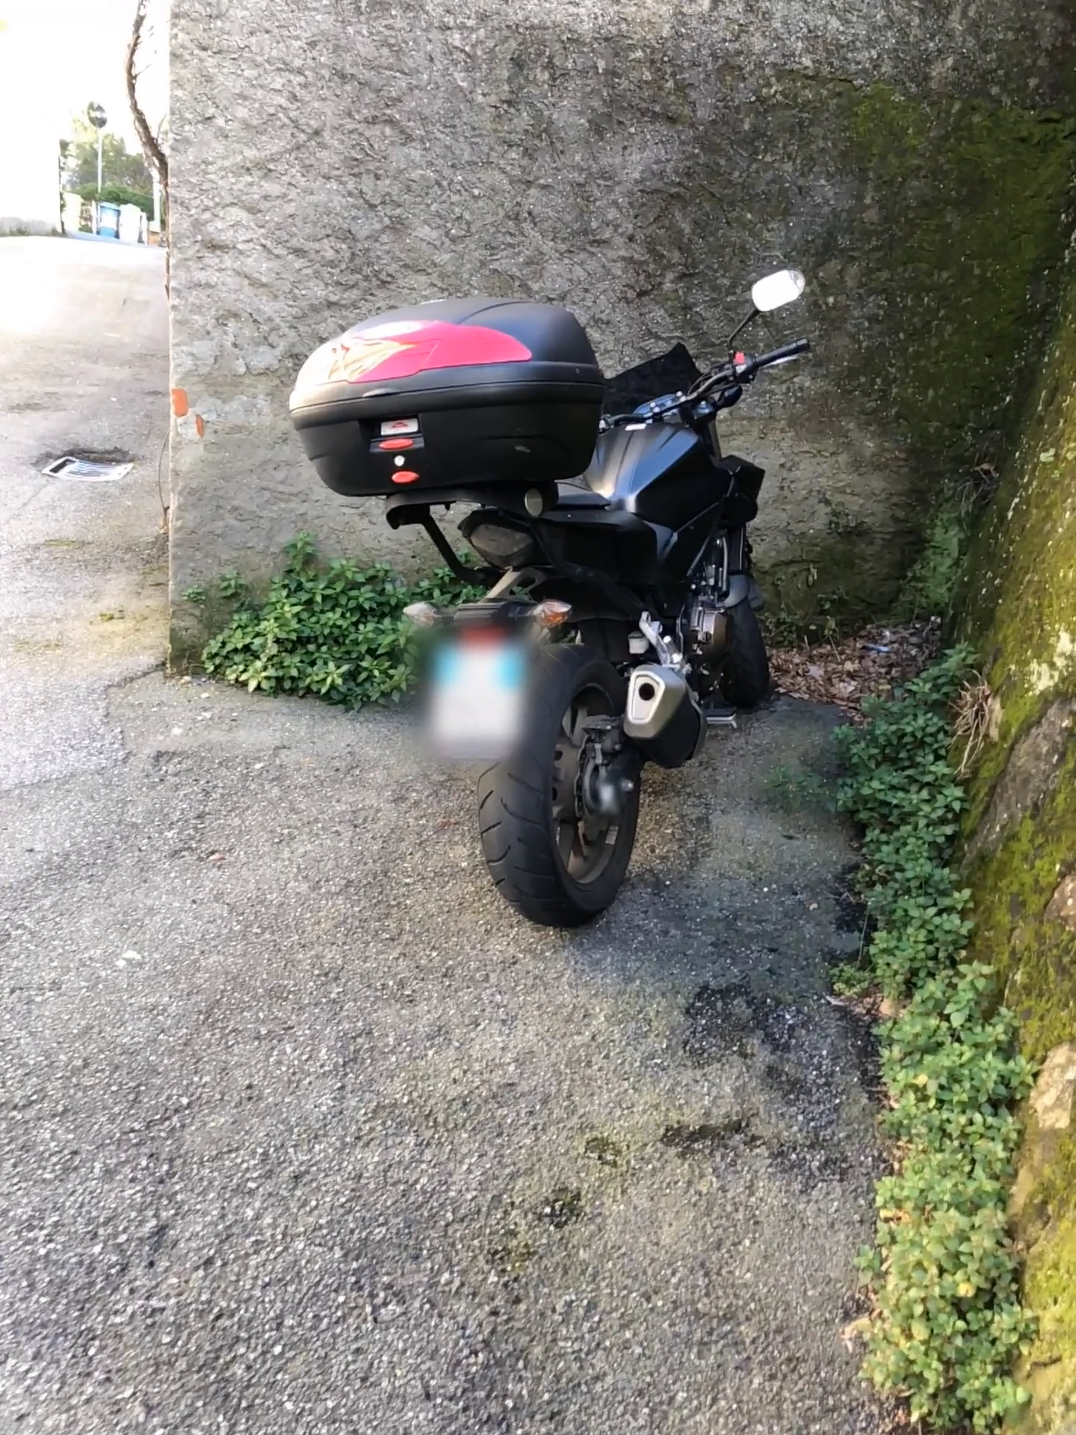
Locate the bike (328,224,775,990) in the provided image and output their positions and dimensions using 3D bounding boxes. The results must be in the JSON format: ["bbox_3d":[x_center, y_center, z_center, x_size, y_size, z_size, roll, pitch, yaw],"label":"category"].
[{"bbox_3d":[0.125,-0.507,3.021,0.711,1.198,1.793,9,26,10],"label":"bike"}]
